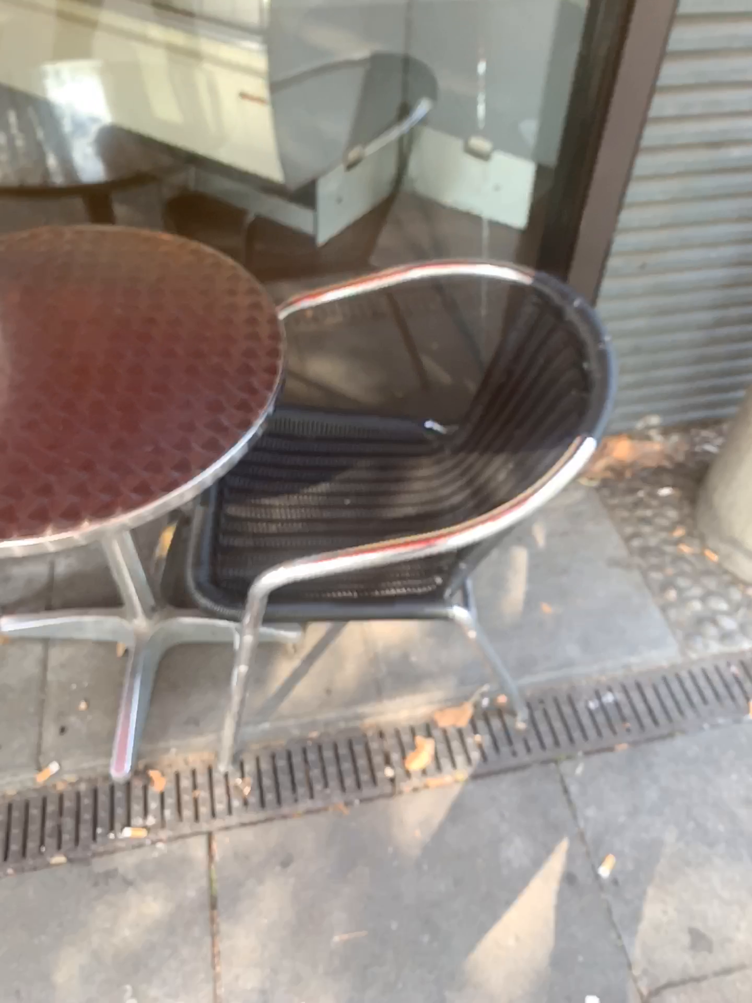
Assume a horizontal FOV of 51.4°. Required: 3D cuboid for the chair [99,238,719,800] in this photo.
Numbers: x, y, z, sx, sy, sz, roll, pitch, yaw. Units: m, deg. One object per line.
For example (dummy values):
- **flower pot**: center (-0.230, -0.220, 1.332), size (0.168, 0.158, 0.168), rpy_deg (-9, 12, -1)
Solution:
- **chair**: center (0.011, 0.026, 1.227), size (0.640, 0.604, 0.605), rpy_deg (-2, 48, -4)
